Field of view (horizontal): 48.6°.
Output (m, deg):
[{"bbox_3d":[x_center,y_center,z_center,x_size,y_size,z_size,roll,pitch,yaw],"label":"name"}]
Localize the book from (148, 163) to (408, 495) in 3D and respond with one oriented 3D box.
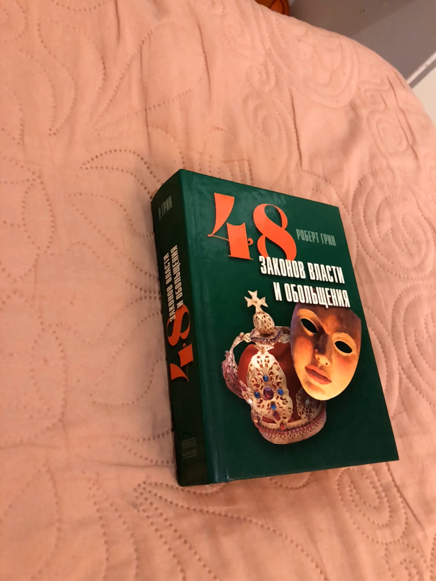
[{"bbox_3d":[0.027,0.017,0.241,0.110,0.032,0.143,7,64,-33],"label":"book"}]
